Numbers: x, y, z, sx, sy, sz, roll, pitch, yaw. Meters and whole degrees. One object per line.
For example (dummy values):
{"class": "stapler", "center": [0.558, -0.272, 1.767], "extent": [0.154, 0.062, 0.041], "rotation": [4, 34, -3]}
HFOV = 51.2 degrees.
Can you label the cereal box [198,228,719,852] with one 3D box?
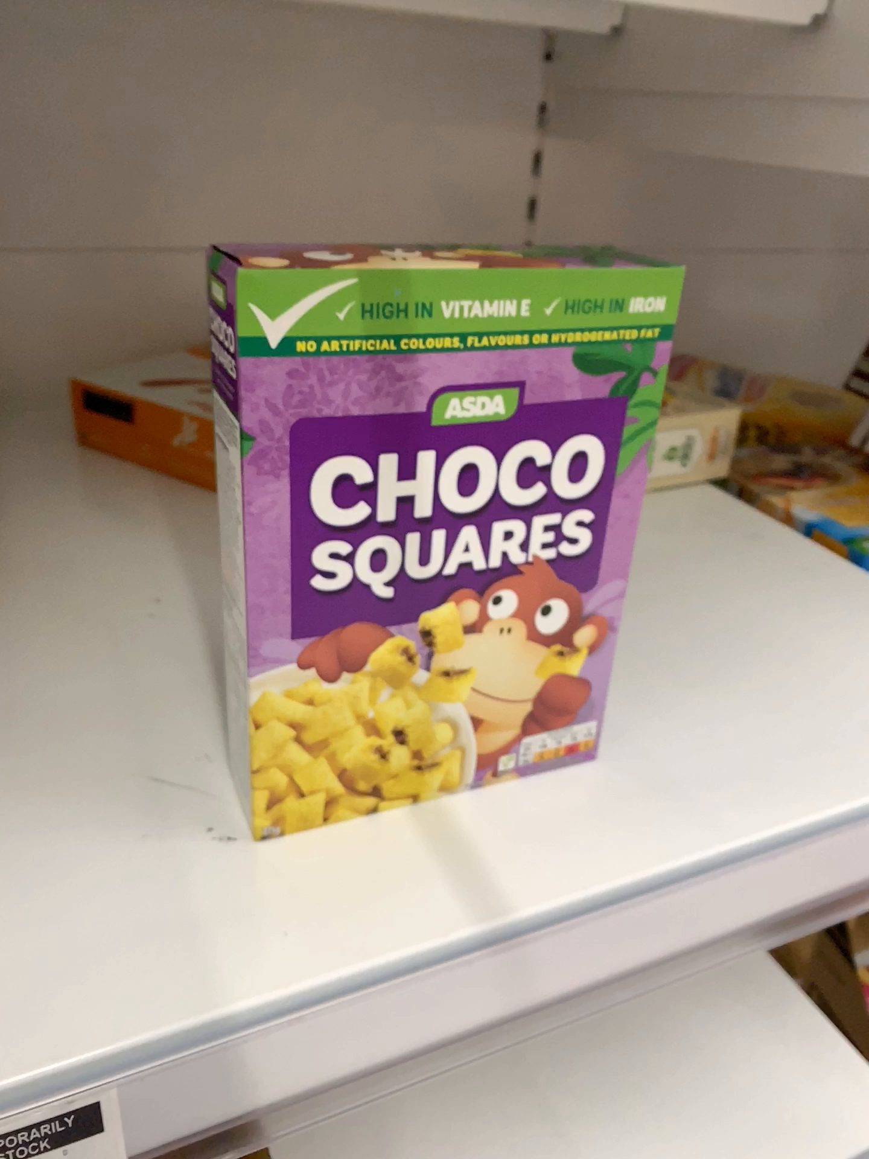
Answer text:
{"class": "cereal box", "center": [0.004, -0.017, 0.399], "extent": [0.190, 0.248, 0.060], "rotation": [-8, 30, -22]}
